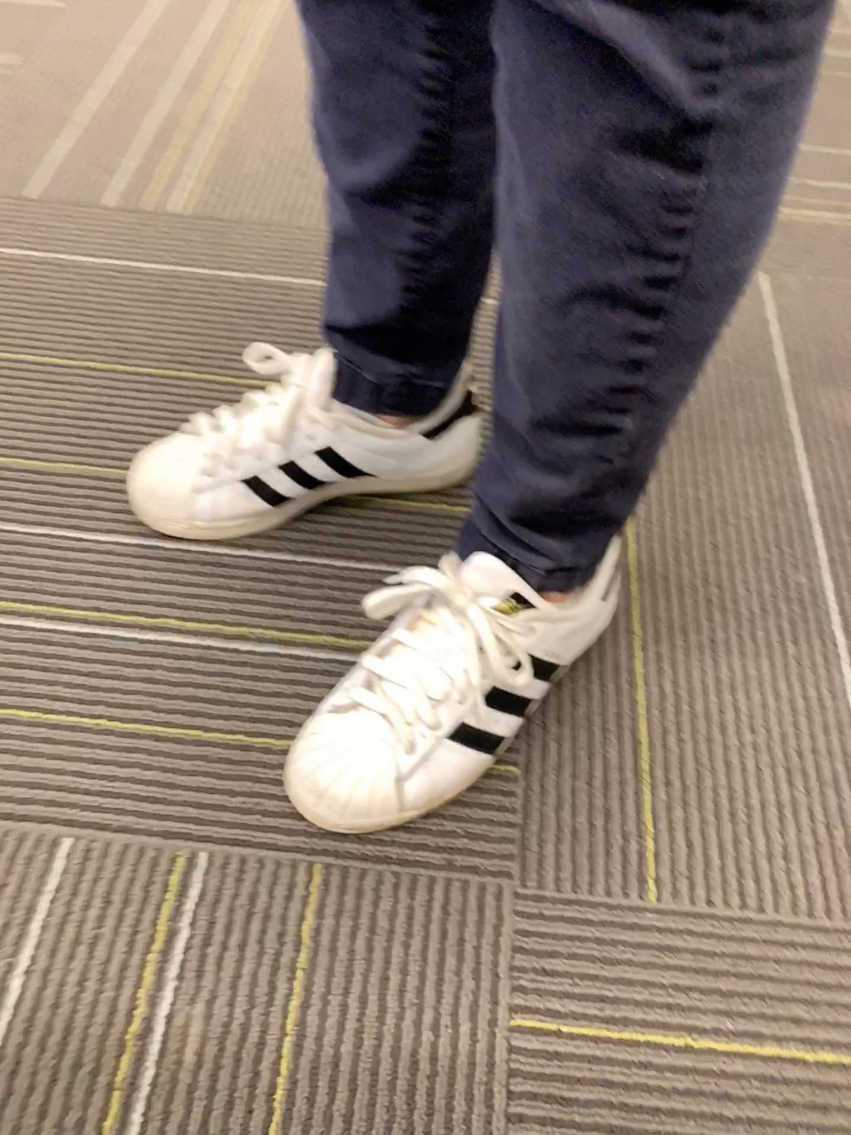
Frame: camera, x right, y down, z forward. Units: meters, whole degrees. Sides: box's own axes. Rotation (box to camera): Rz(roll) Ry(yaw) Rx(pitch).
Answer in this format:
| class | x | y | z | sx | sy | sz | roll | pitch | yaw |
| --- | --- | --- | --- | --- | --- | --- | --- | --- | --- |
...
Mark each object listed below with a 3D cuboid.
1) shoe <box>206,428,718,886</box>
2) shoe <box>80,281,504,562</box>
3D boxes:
| class | x | y | z | sx | sy | sz | roll | pitch | yaw |
| --- | --- | --- | --- | --- | --- | --- | --- | --- | --- |
| shoe | 0.025 | 0.041 | 0.503 | 0.263 | 0.104 | 0.108 | -31 | 60 | -24 |
| shoe | -0.090 | -0.106 | 0.617 | 0.258 | 0.104 | 0.106 | -14 | 55 | -14 |
